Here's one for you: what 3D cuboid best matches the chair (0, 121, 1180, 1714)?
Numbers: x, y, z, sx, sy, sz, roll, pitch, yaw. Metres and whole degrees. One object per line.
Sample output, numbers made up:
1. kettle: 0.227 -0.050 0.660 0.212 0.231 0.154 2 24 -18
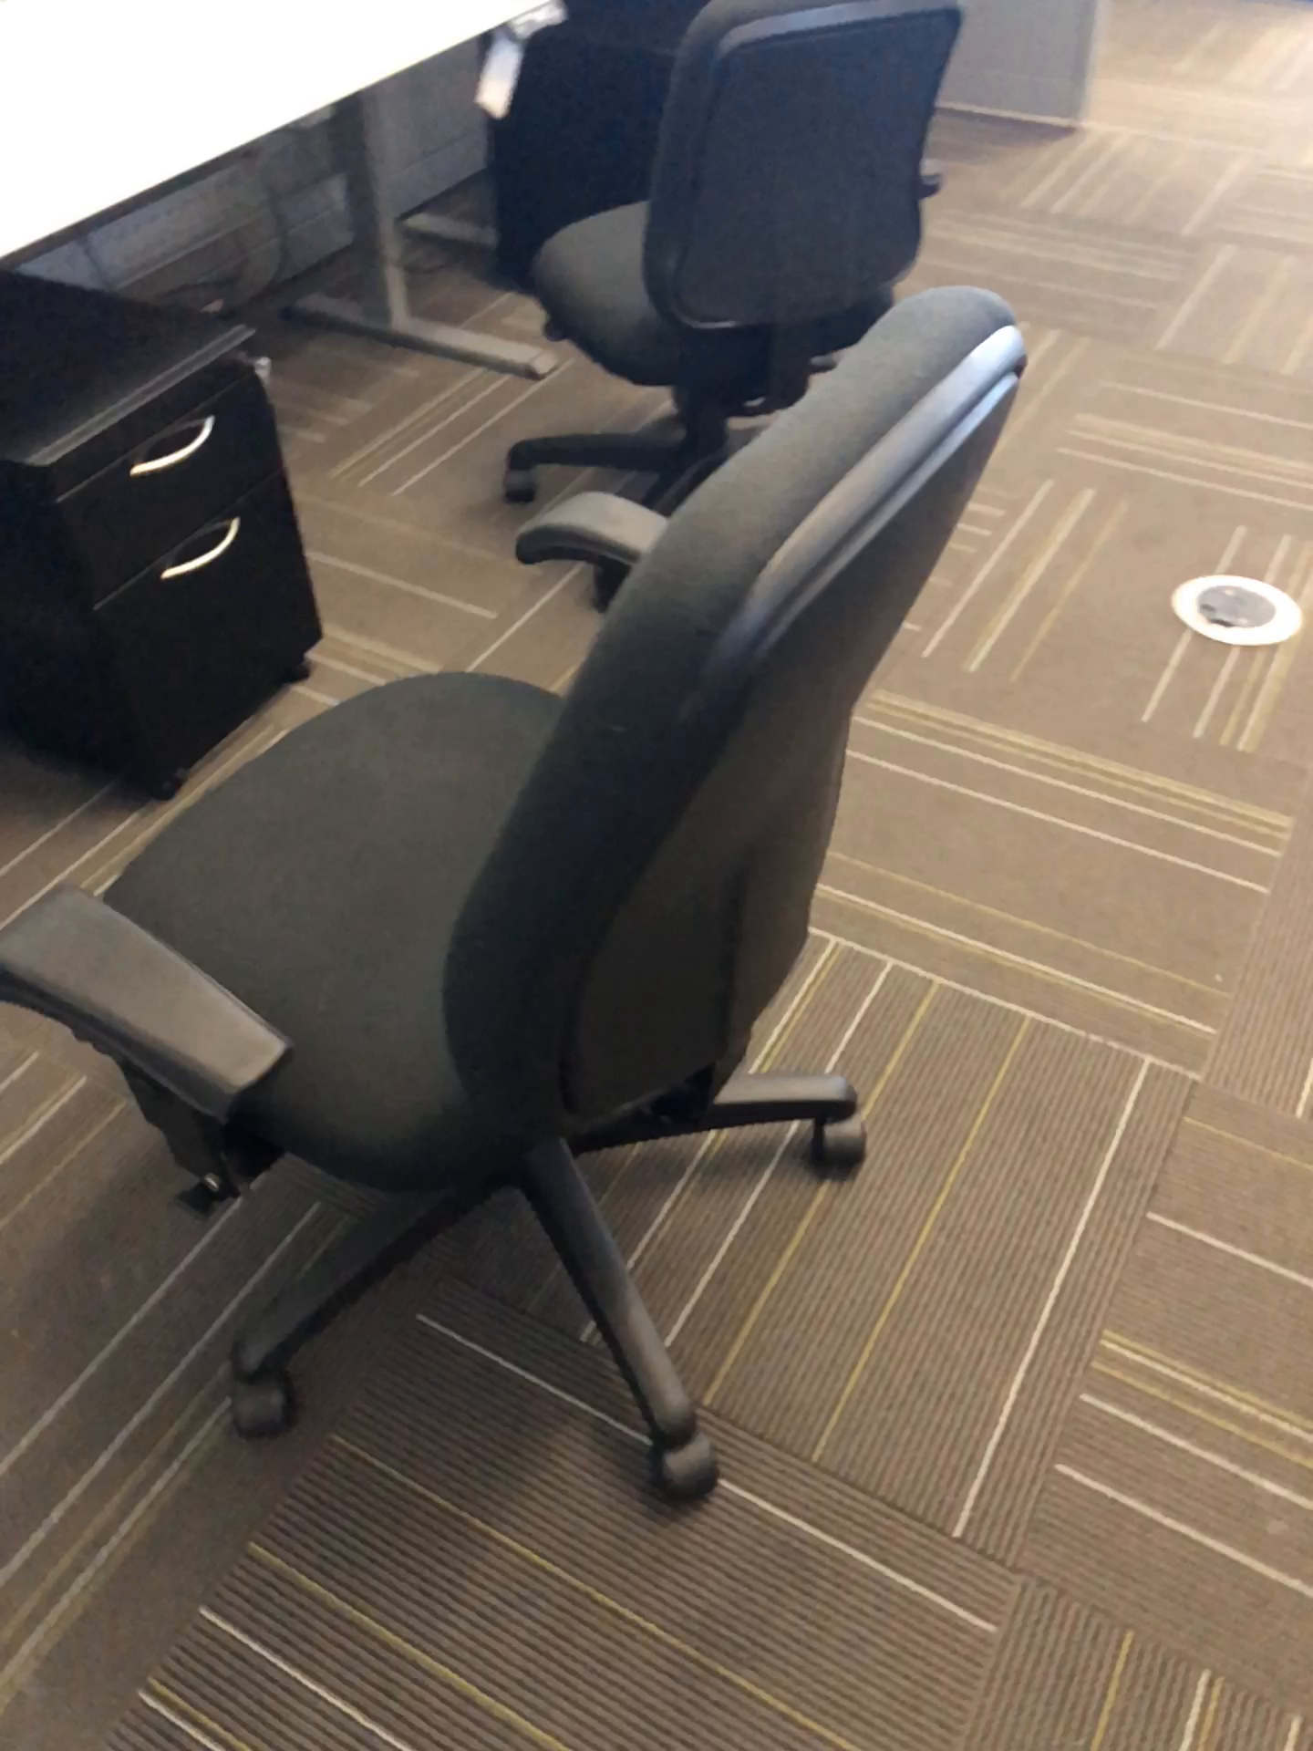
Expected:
1. chair: -0.099 0.023 1.252 0.681 0.956 0.742 20 48 21
